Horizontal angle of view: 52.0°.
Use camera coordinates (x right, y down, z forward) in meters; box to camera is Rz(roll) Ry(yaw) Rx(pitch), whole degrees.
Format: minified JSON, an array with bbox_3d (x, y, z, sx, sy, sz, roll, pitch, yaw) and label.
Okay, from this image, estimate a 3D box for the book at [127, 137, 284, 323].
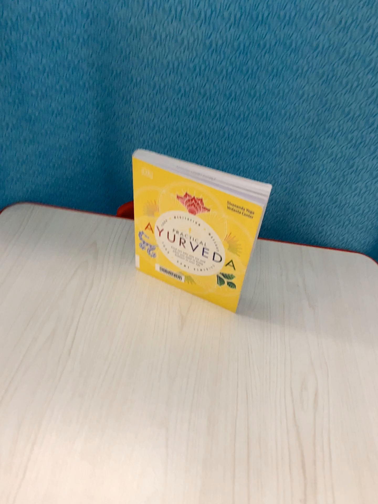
[{"bbox_3d":[0.010,-0.023,0.613,0.210,0.259,0.050,22,47,14],"label":"book"}]
